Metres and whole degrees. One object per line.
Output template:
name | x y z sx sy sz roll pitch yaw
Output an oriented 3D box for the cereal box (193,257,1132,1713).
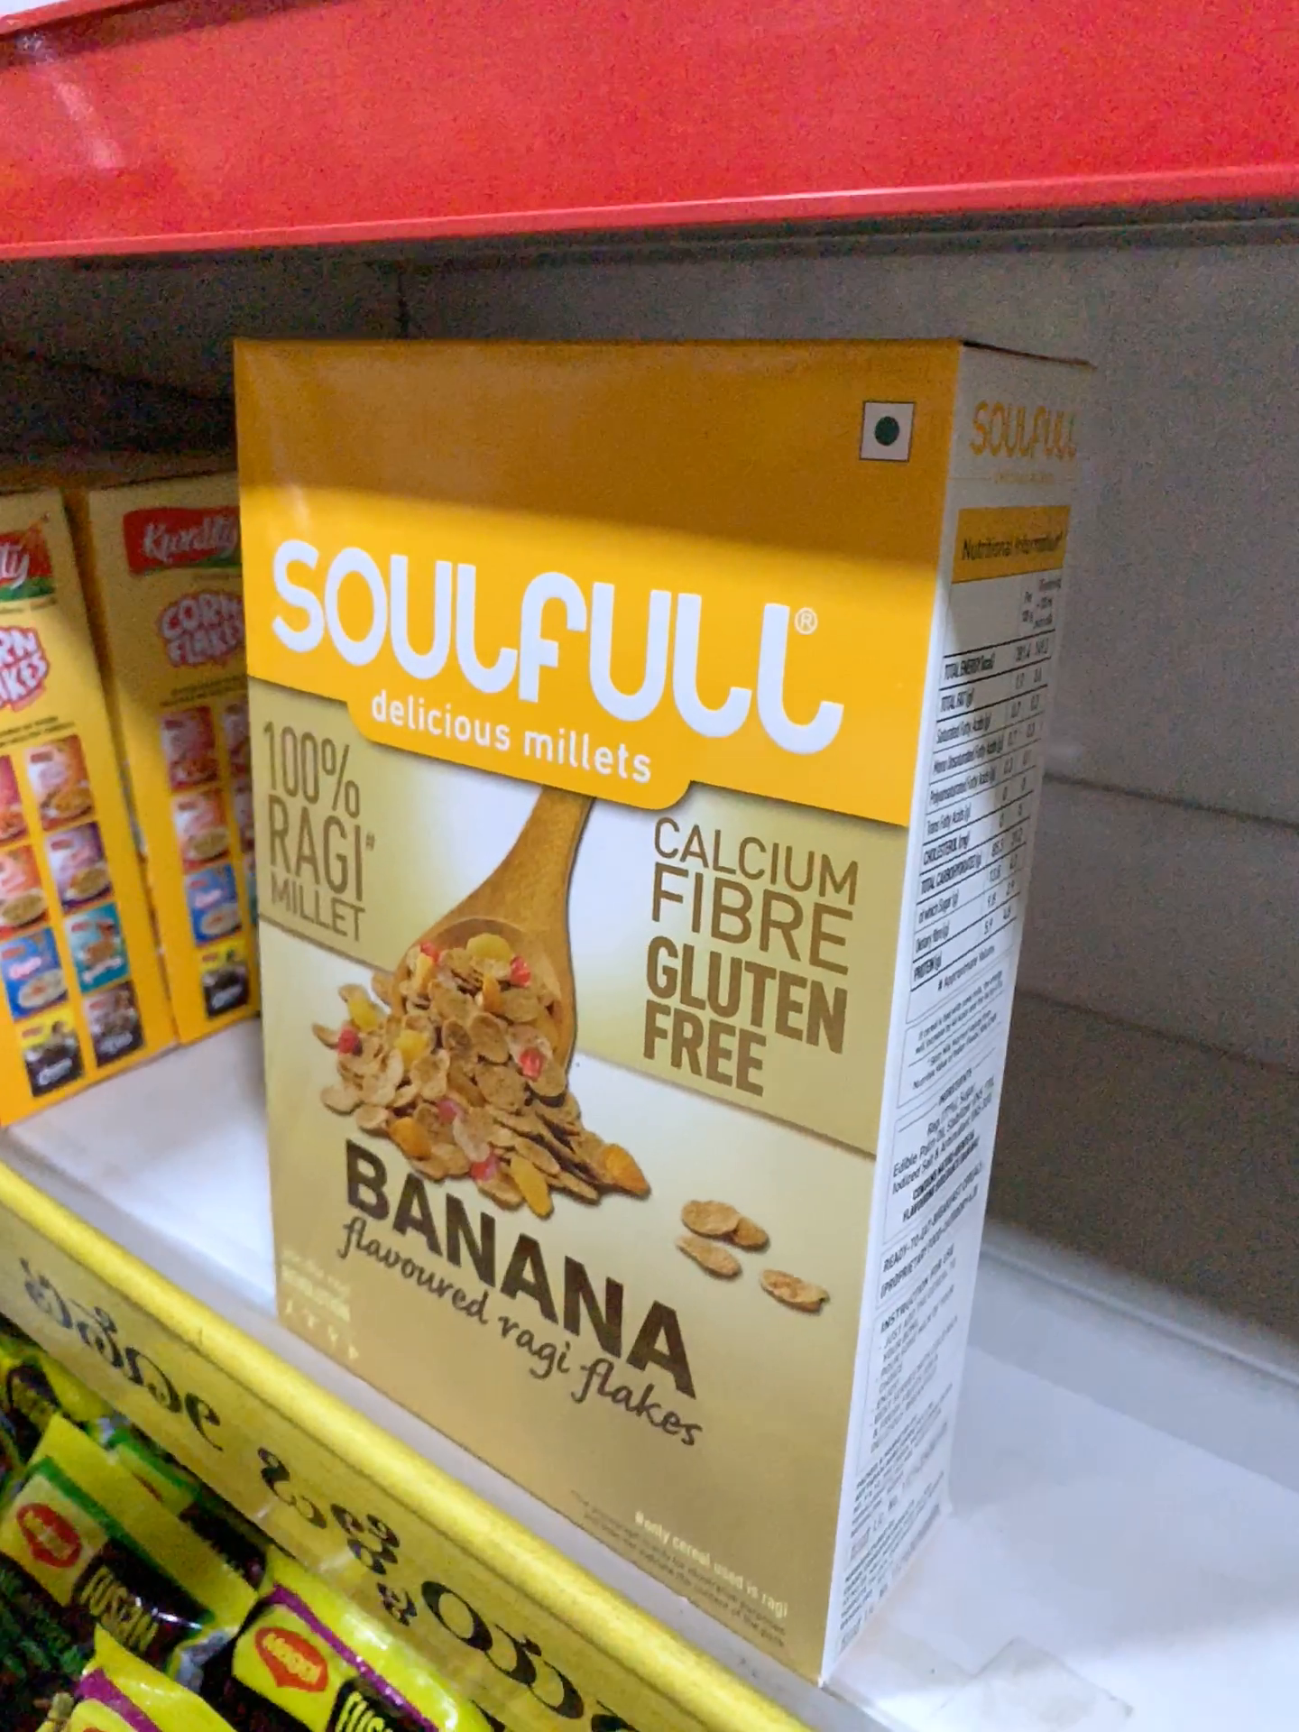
cereal box | -0.011 0.011 0.269 0.160 0.229 0.060 15 20 35
